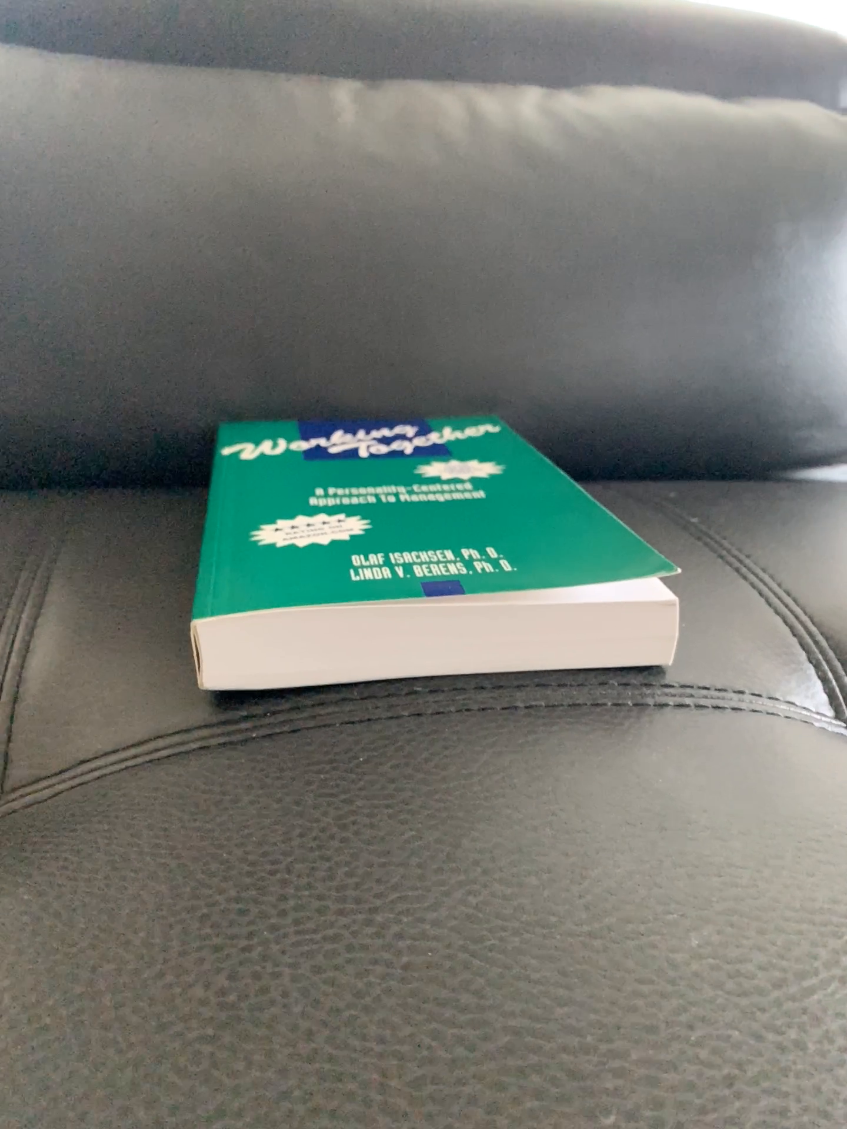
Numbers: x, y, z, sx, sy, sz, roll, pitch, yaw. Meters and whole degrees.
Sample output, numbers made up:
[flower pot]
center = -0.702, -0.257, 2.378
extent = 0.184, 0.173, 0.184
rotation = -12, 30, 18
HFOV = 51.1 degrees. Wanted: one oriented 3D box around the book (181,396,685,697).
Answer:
[book]
center = -0.013, -0.024, 0.342
extent = 0.137, 0.033, 0.218
rotation = -1, 23, -10
